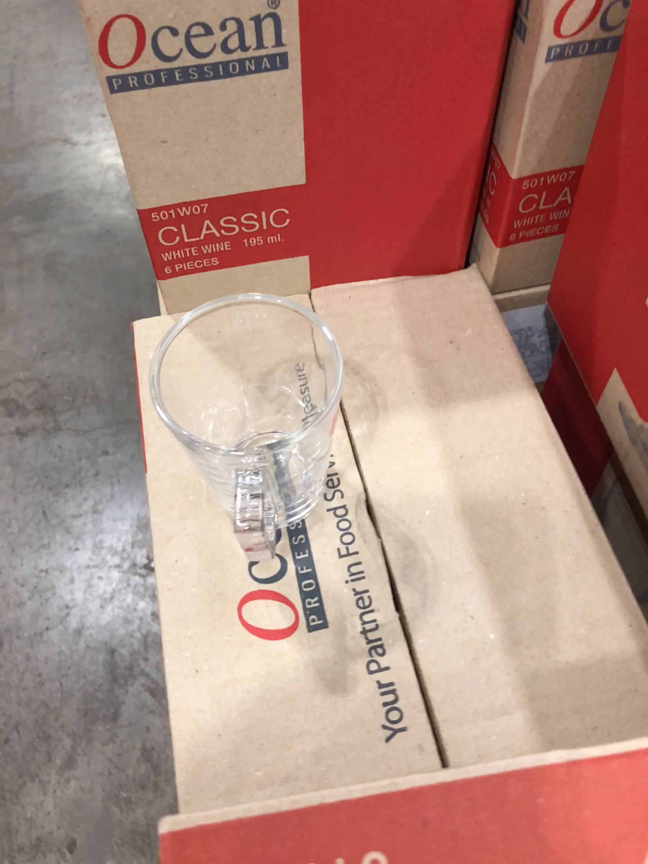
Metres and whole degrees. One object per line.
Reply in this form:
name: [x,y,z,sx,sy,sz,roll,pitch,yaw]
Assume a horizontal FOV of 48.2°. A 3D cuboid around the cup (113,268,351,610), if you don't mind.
cup: [-0.023,0.008,0.244,0.060,0.100,0.070,-3,57,0]
